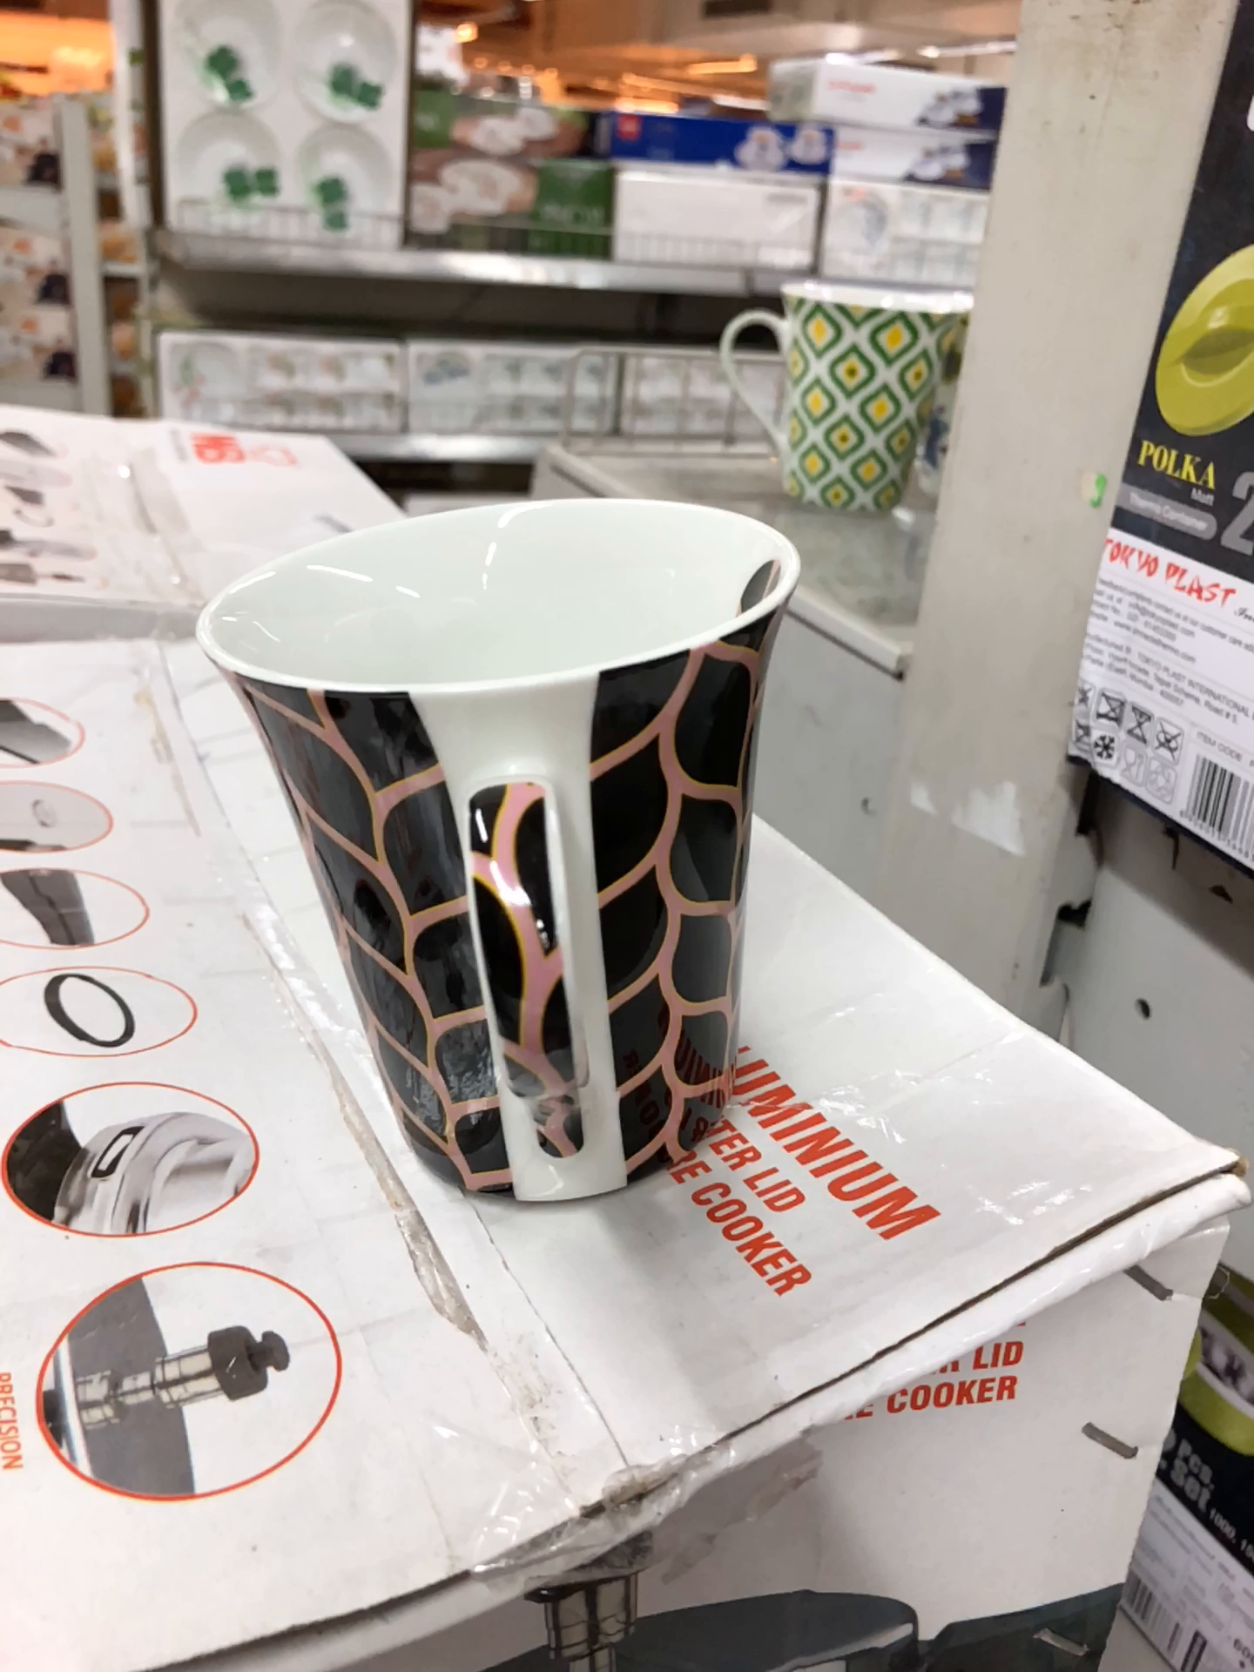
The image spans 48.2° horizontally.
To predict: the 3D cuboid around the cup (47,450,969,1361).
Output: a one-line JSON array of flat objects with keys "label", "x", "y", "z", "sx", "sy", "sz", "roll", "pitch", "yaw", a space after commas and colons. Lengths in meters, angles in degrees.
[{"label": "cup", "x": -0.016, "y": -0.002, "z": 0.203, "sx": 0.090, "sy": 0.080, "sz": 0.111, "roll": -6, "pitch": 26, "yaw": -7}]
